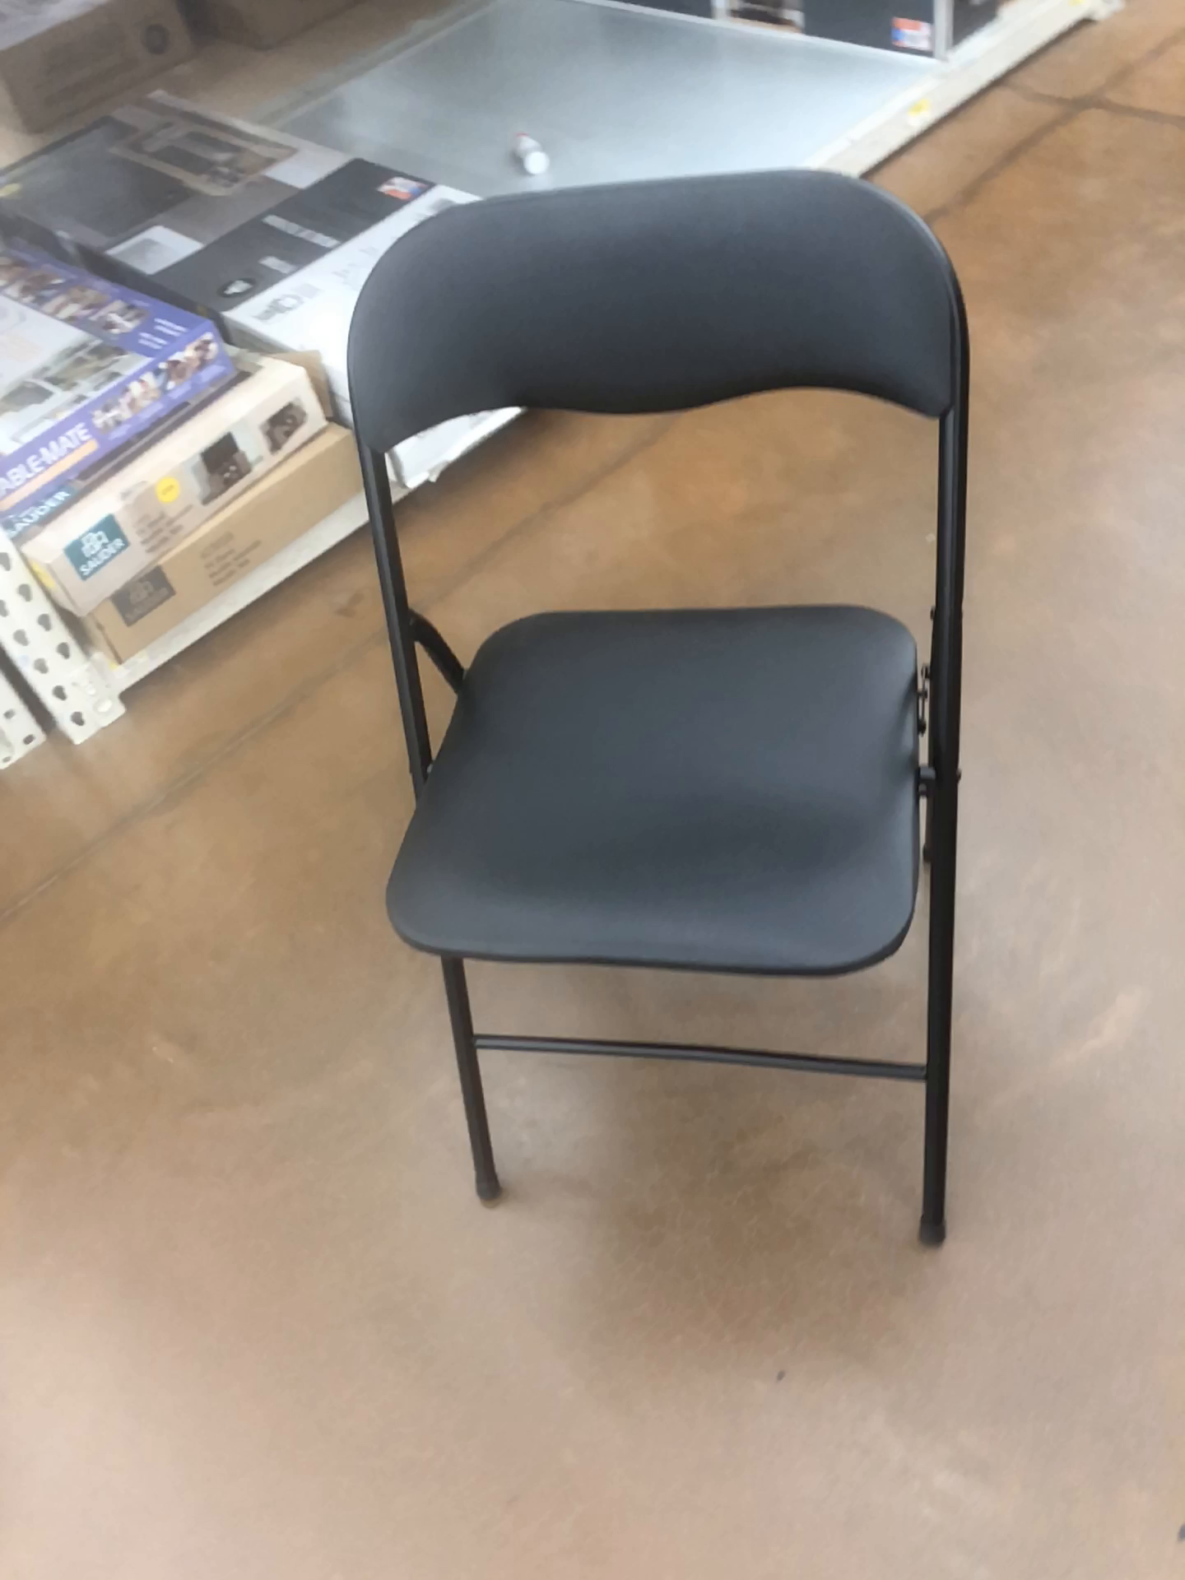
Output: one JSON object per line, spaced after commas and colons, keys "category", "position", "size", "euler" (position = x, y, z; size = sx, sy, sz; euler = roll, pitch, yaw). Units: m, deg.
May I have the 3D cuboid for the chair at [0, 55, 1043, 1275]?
{"category": "chair", "position": [0.048, -0.039, 1.025], "size": [0.521, 0.758, 0.491], "euler": [1, 49, 16]}
